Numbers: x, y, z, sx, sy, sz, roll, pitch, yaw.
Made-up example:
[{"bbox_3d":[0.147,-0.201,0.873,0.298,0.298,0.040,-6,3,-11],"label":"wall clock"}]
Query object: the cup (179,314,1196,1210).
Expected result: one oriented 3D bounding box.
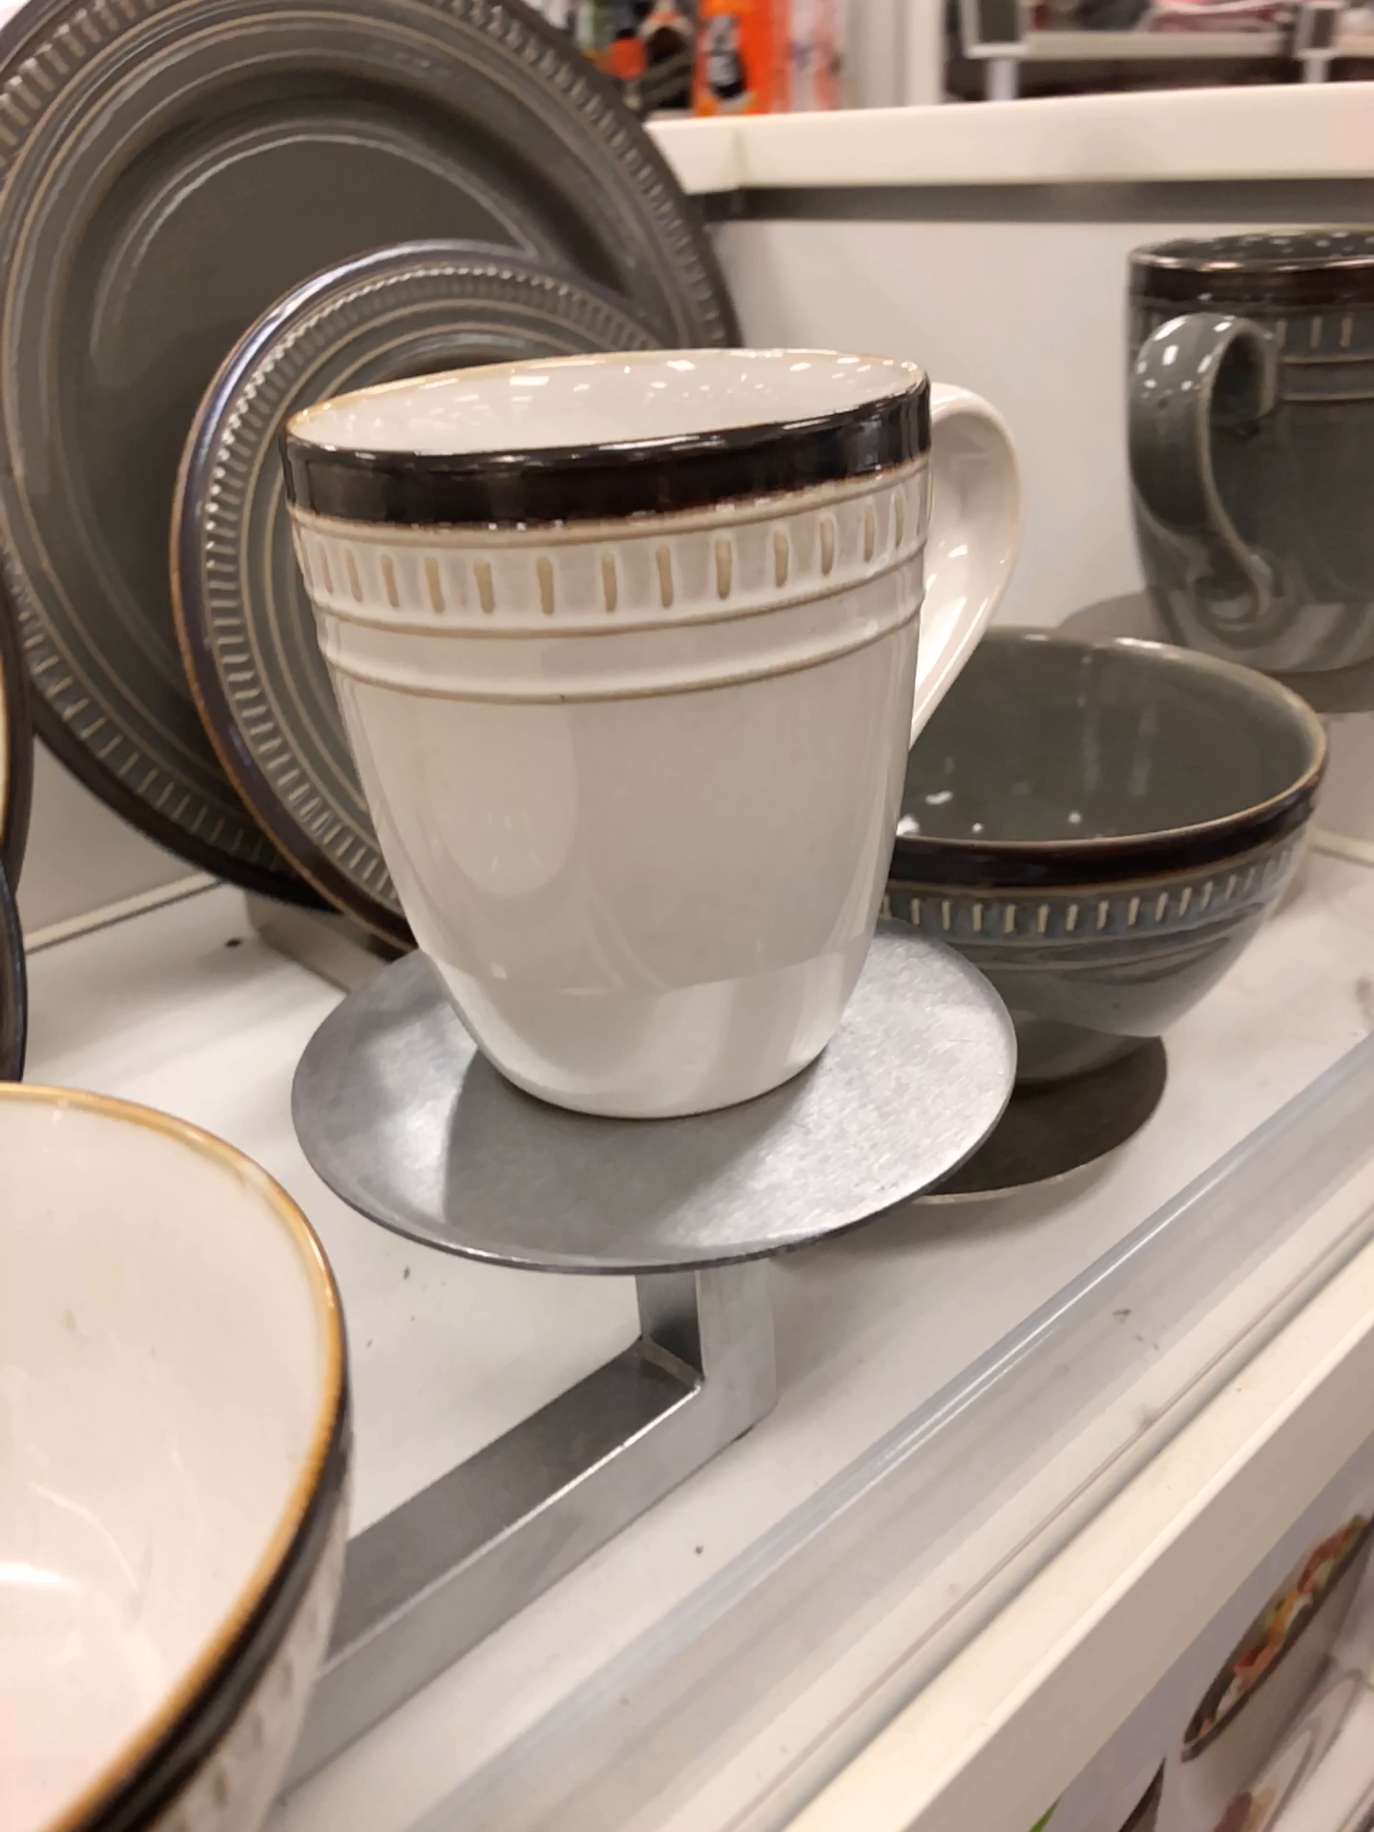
[{"bbox_3d":[0.007,-0.040,0.253,0.092,0.097,0.128,19,34,38],"label":"cup"}]
